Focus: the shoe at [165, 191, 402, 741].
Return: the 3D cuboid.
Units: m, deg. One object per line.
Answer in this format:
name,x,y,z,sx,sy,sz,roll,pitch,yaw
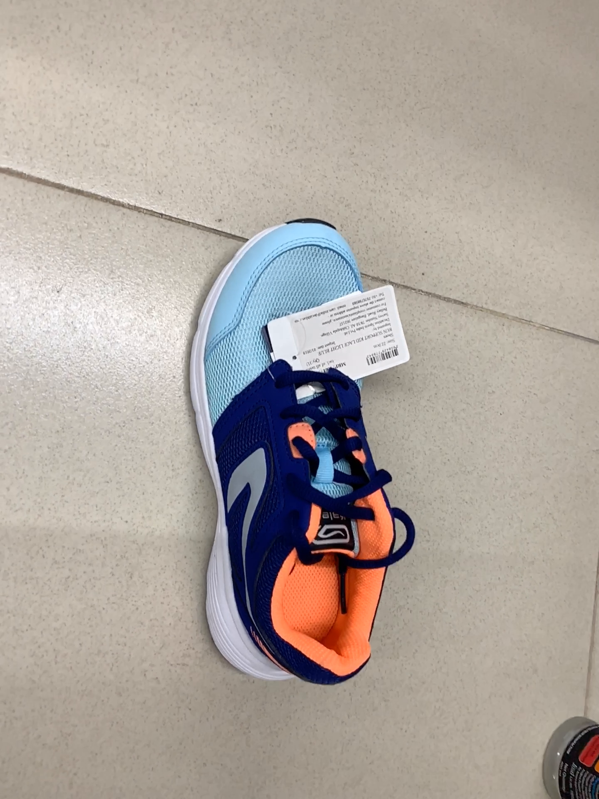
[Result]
shoe,-0.011,0.029,0.327,0.100,0.080,0.240,1,89,-26
